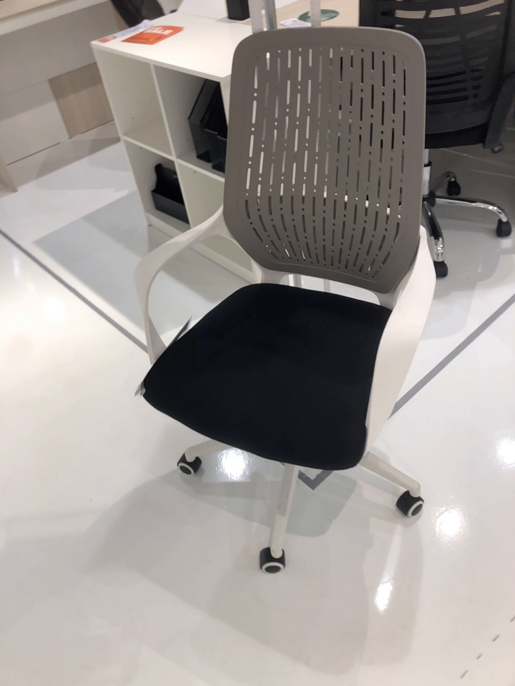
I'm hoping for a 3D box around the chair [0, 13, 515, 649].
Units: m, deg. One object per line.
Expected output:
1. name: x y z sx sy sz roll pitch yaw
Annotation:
1. chair: 0.058 -0.030 1.180 0.691 1.002 0.674 16 48 24
